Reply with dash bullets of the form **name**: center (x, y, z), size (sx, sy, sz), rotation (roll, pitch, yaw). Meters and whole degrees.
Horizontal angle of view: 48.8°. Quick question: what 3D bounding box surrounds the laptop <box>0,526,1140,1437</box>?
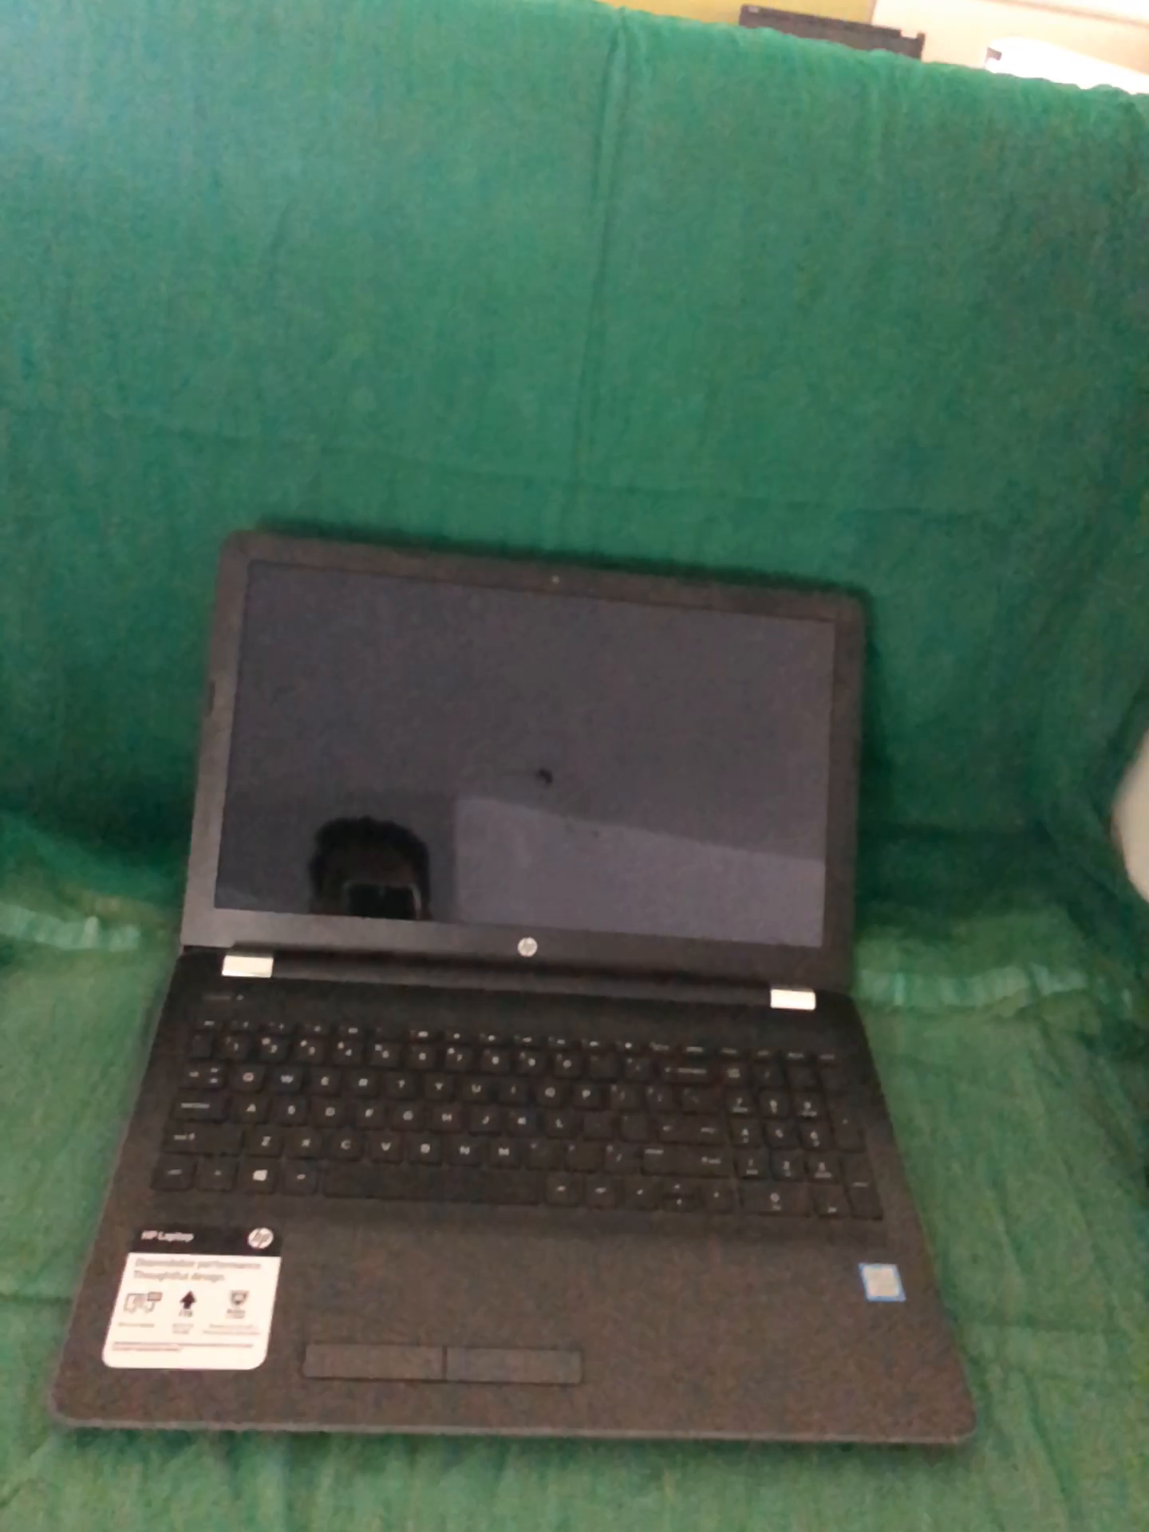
- **laptop**: center (-0.011, 0.073, 0.631), size (0.378, 0.179, 0.417), rotation (5, 36, -6)
